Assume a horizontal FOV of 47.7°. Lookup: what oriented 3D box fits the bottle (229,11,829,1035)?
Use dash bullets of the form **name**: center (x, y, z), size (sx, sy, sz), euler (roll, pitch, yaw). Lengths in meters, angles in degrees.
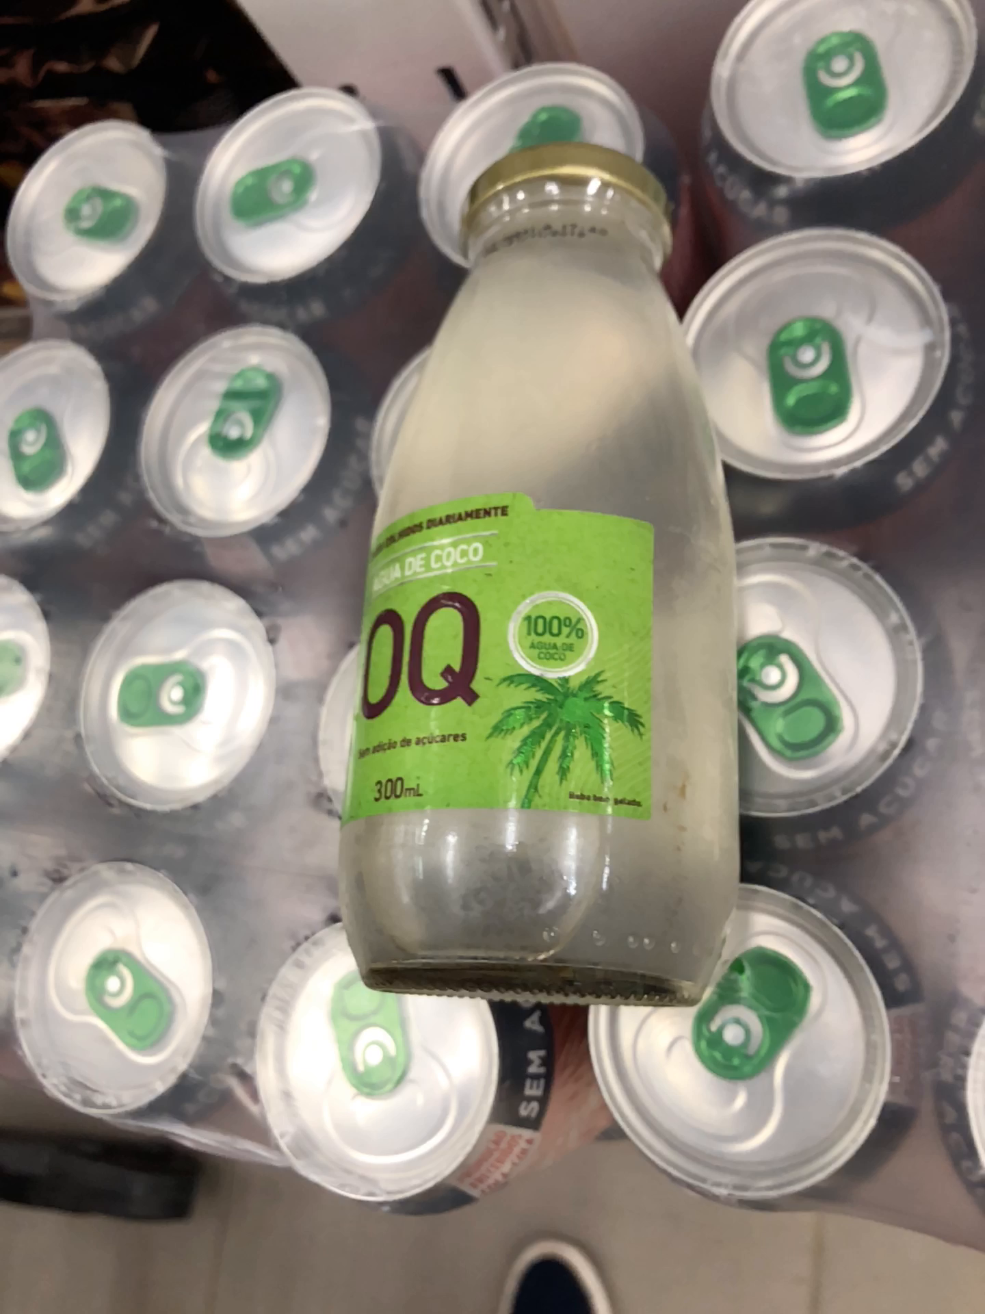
- **bottle**: center (0.008, -0.015, 0.194), size (0.070, 0.060, 0.150), euler (-12, 67, 38)
